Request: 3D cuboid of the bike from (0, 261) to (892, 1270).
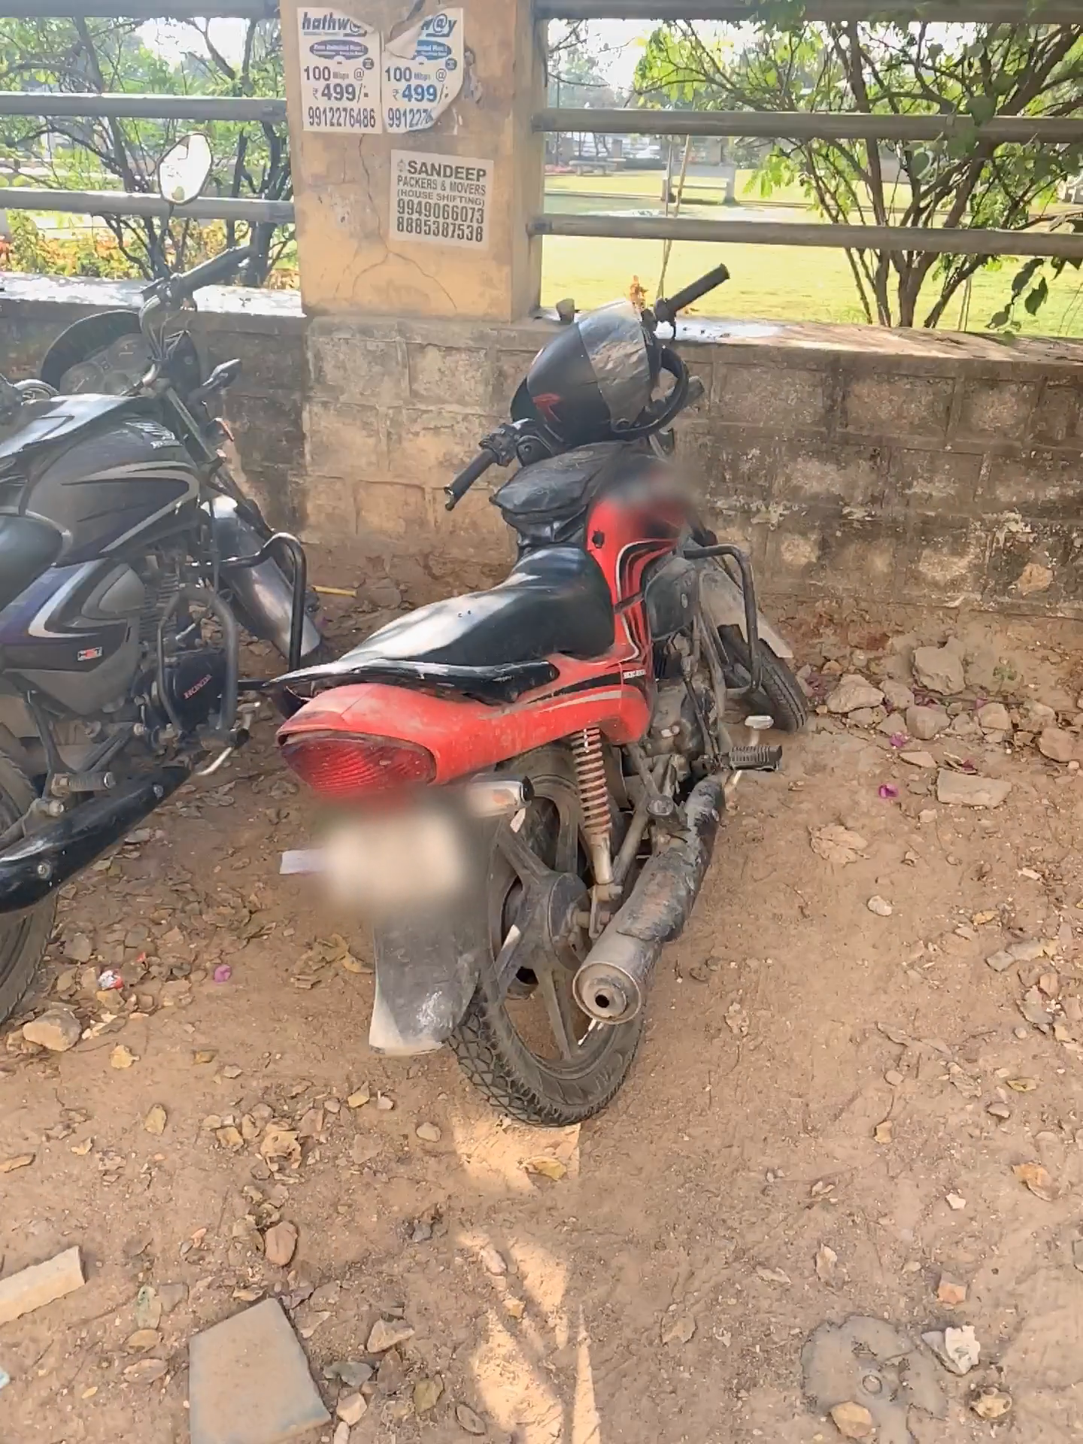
[{"bbox_3d":[-0.033,-0.162,2.141,1.064,1.245,1.602,11,27,16],"label":"bike"}]
